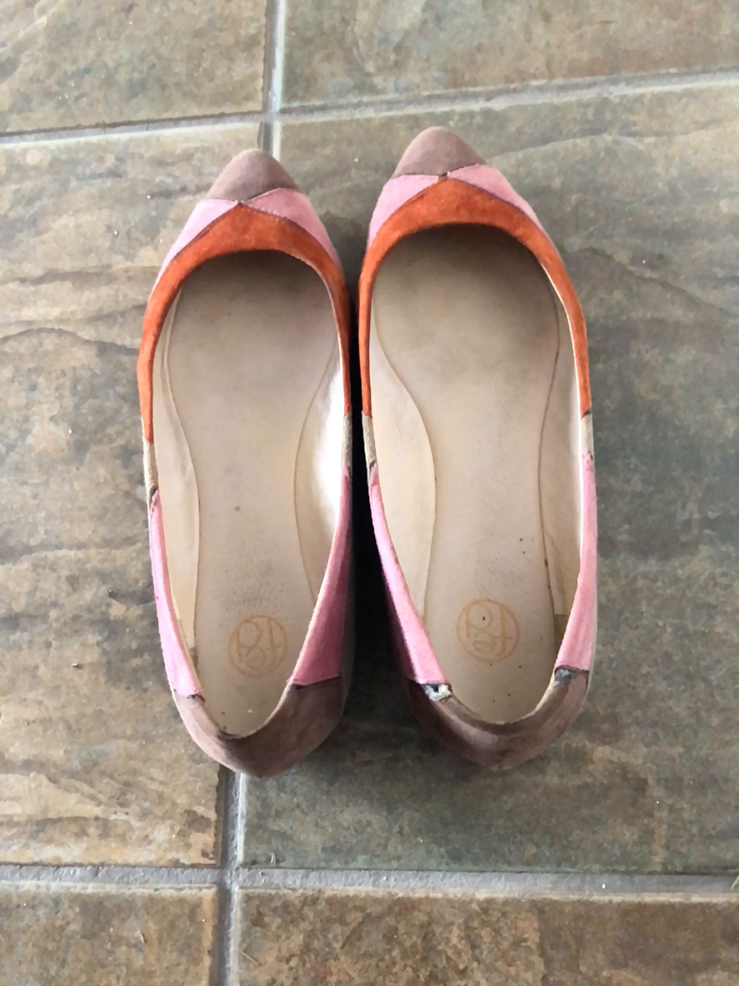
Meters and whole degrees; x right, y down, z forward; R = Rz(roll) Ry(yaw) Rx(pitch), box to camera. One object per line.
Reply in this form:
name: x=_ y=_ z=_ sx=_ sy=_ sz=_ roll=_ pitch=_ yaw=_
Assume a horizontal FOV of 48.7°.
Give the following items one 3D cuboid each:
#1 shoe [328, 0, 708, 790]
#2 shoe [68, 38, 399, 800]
shoe: x=0.039 y=-0.041 z=0.290 sx=0.090 sy=0.070 sz=0.271 roll=-5 pitch=71 yaw=6
shoe: x=-0.047 y=-0.033 z=0.308 sx=0.090 sy=0.070 sz=0.271 roll=-6 pitch=71 yaw=5
